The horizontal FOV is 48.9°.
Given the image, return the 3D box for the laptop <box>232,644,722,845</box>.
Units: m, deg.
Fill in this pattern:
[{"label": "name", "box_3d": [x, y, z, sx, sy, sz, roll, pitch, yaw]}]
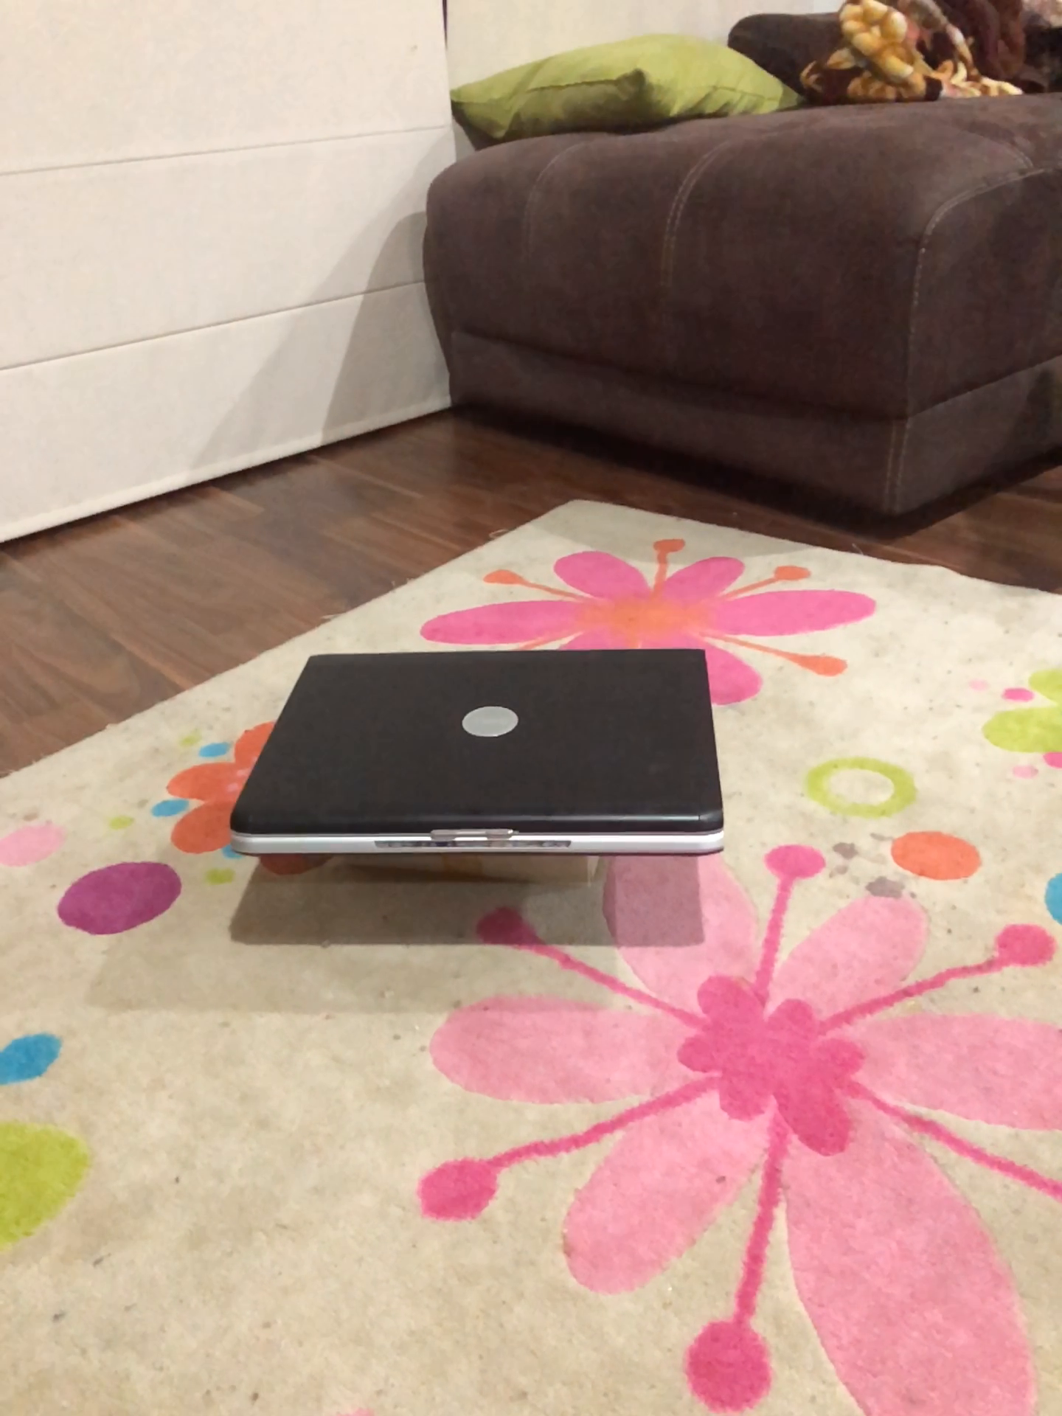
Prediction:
[{"label": "laptop", "box_3d": [-0.034, 0.024, 0.924, 0.353, 0.015, 0.233, -2, 35, 9]}]
